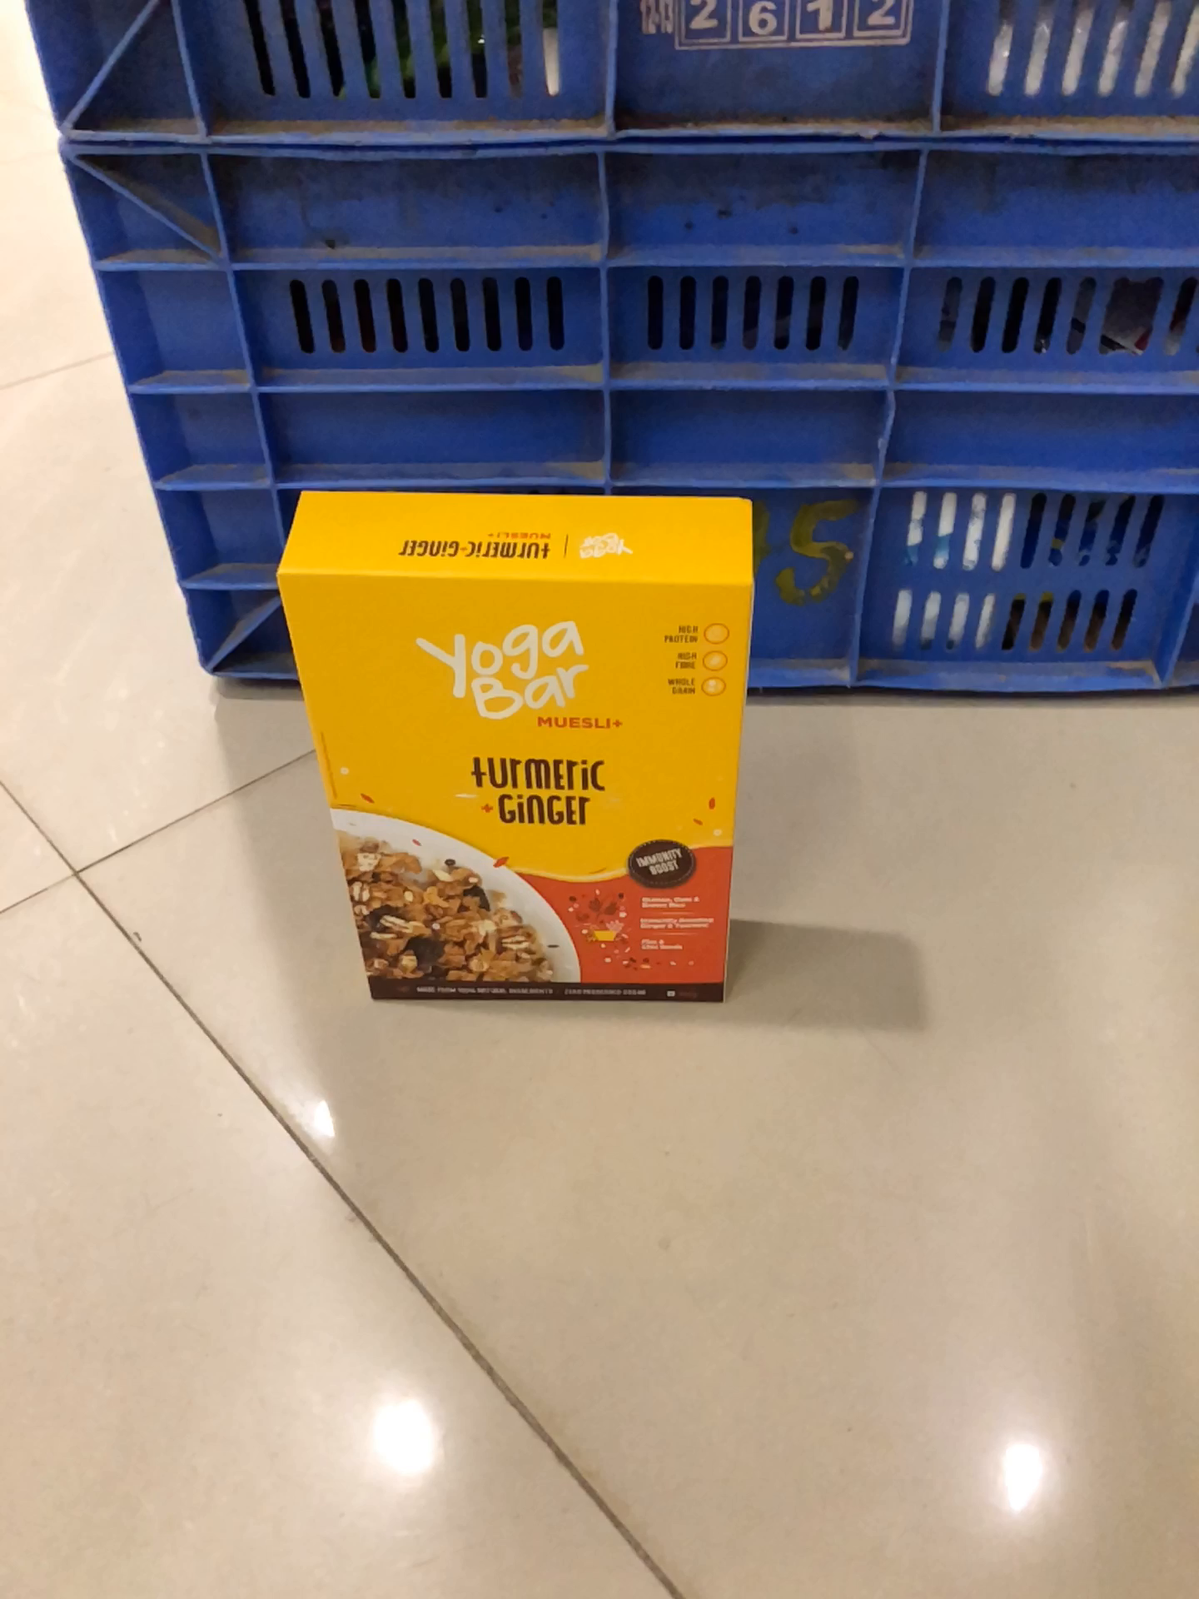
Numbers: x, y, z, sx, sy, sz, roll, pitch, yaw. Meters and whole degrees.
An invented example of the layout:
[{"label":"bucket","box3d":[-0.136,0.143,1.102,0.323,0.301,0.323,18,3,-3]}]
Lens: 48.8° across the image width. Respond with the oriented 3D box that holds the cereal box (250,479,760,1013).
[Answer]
[{"label":"cereal box","box3d":[-0.027,-0.011,0.537,0.170,0.229,0.060,0,42,3]}]
